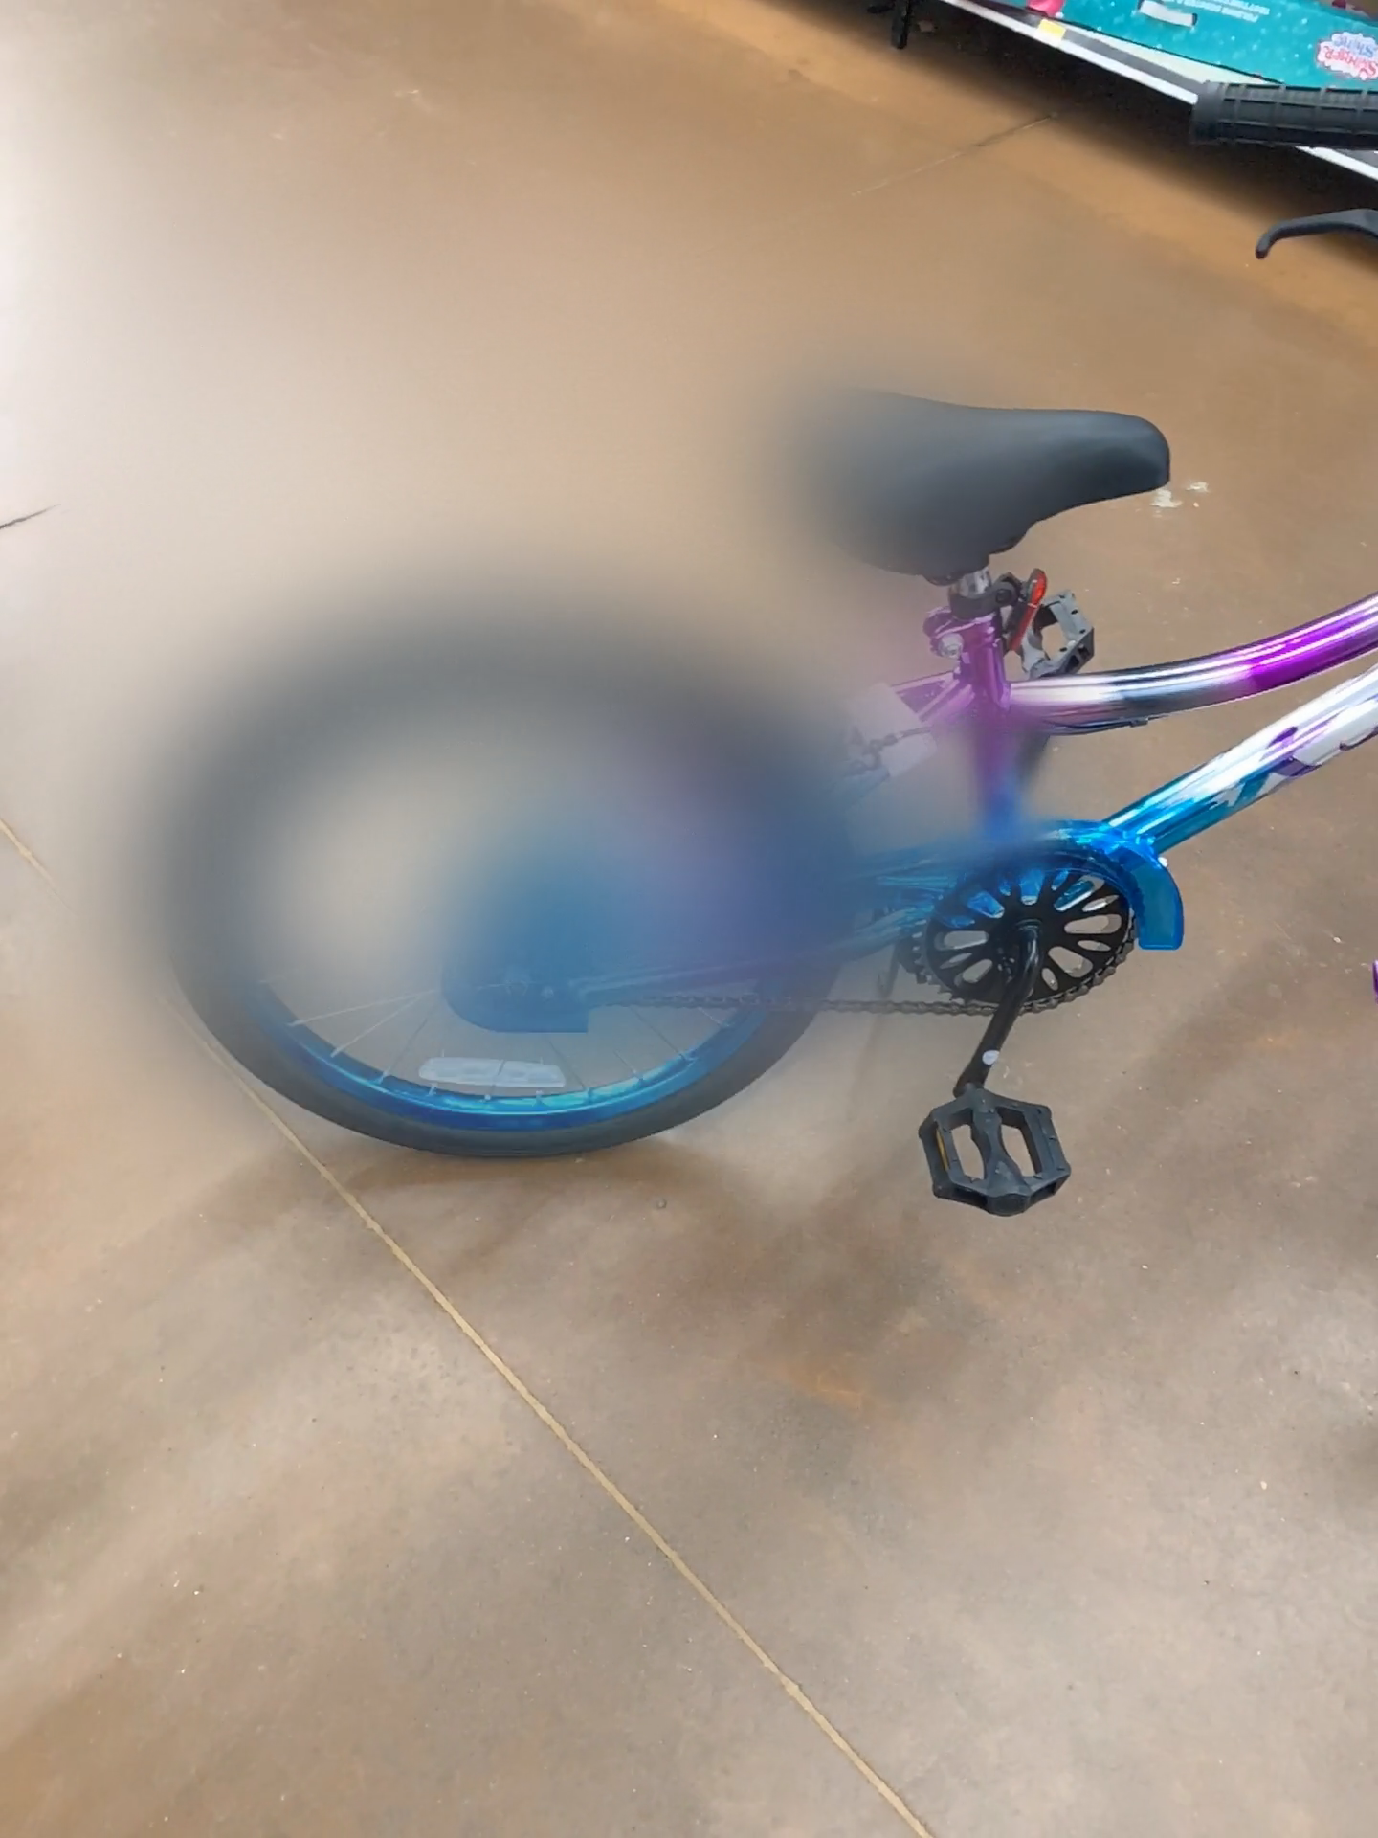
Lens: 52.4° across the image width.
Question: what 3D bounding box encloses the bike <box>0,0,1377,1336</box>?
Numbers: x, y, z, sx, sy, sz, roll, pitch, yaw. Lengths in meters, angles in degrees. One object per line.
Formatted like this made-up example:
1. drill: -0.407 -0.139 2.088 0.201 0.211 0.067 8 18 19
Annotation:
1. bike: 0.116 -0.205 0.885 0.934 0.931 0.580 3 50 -6
